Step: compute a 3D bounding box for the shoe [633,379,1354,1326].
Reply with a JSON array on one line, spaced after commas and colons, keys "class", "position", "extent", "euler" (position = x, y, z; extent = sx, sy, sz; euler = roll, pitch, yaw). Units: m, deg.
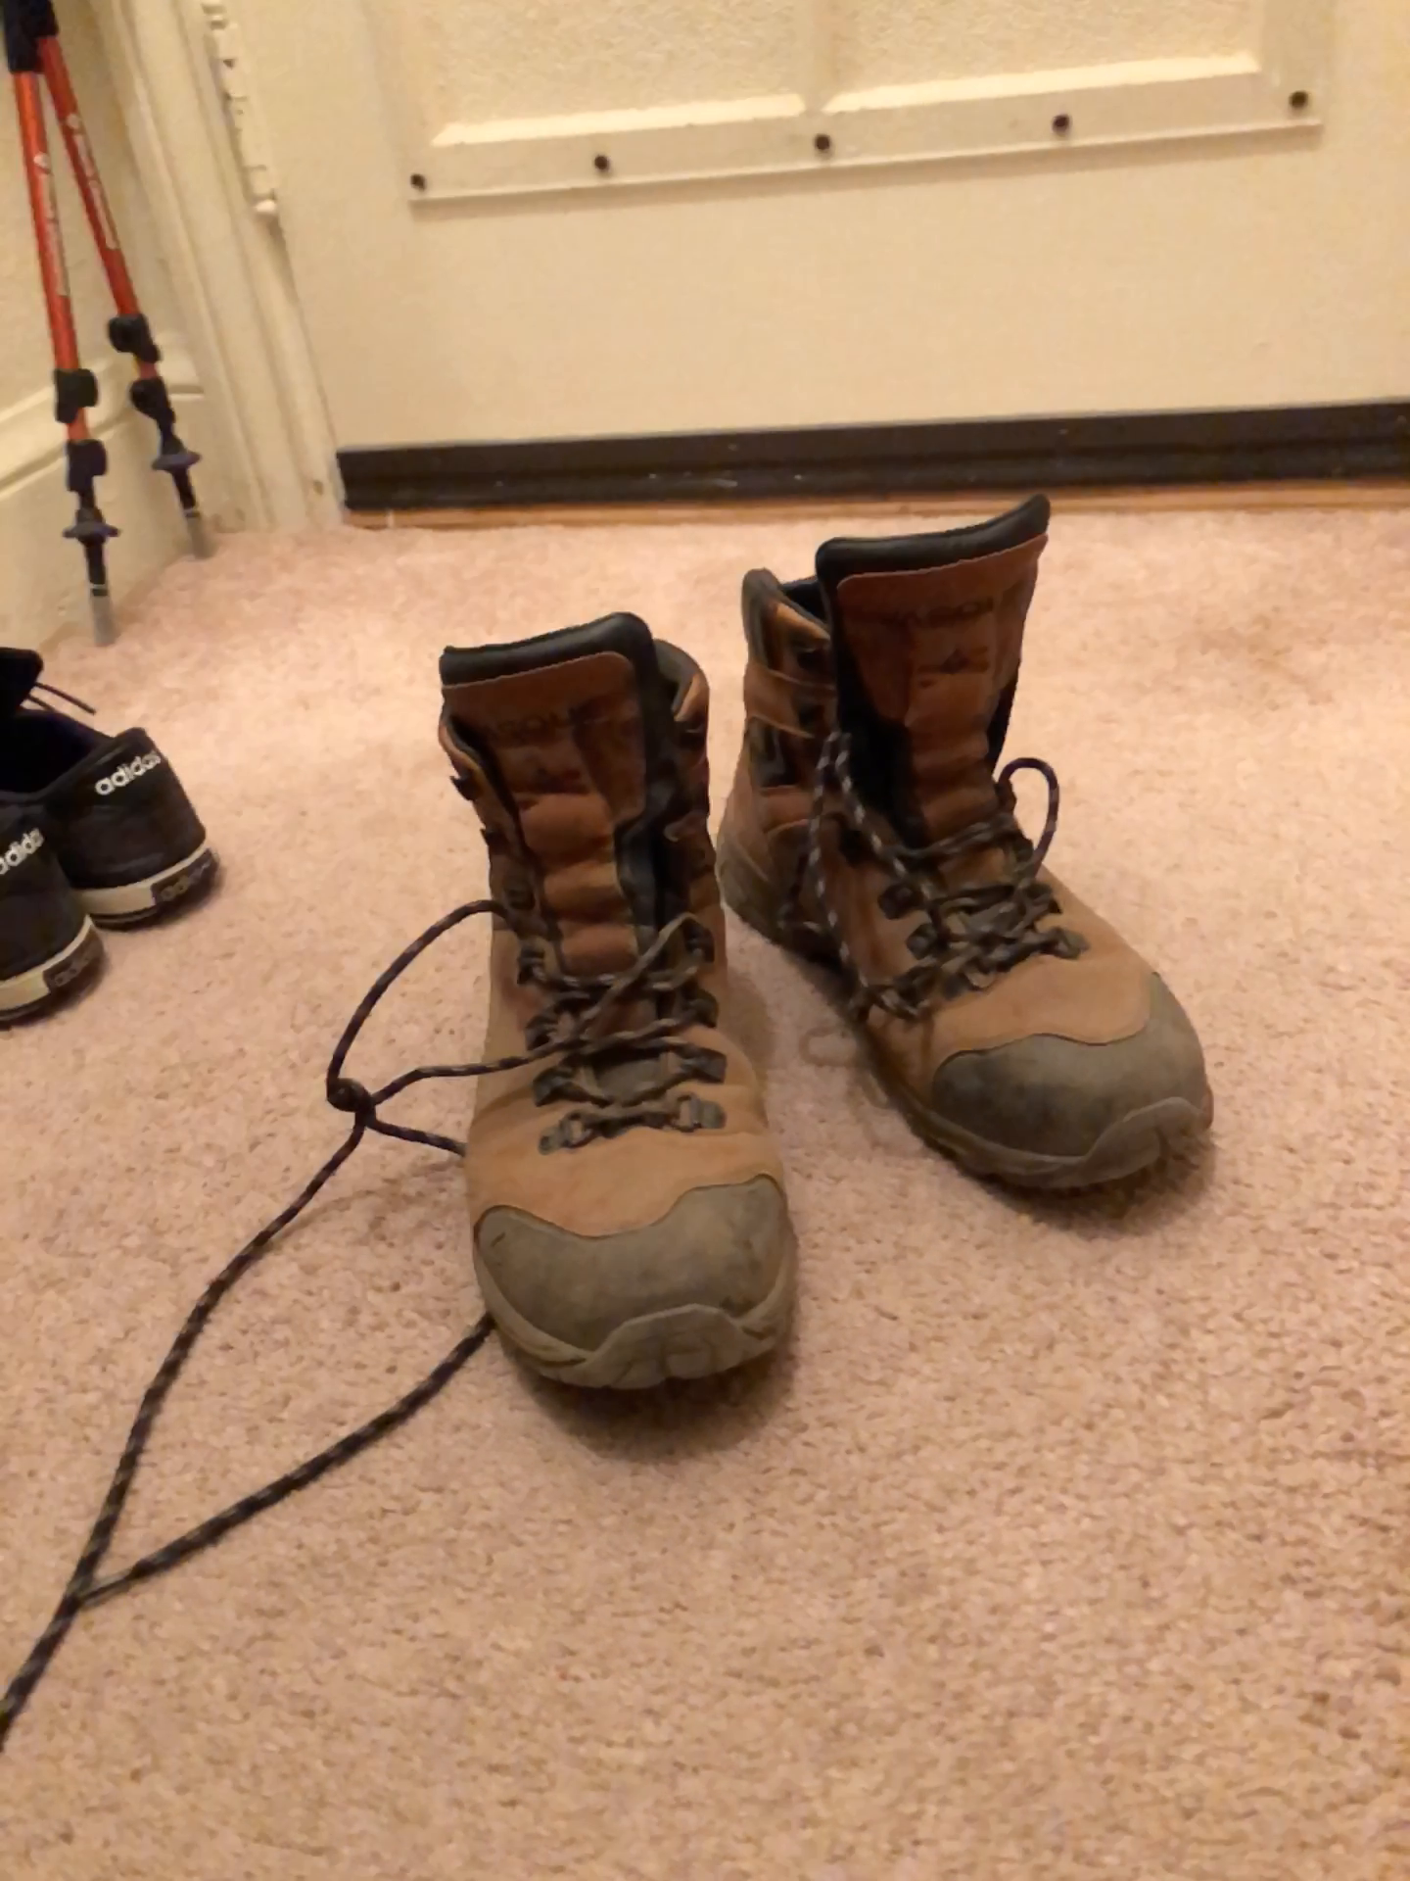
[{"class": "shoe", "position": [0.089, -0.056, 0.609], "extent": [0.120, 0.229, 0.312], "euler": [-16, 35, -11]}]

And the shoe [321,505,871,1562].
[{"class": "shoe", "position": [-0.041, 0.010, 0.559], "extent": [0.120, 0.219, 0.312], "euler": [-10, 35, -3]}]
